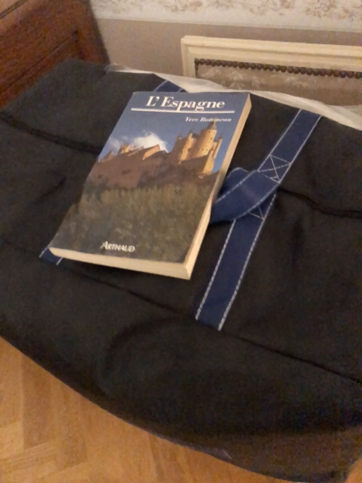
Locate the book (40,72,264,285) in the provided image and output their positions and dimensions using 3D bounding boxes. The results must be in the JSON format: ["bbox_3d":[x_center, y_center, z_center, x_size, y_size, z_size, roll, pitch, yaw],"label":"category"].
[{"bbox_3d":[-0.021,-0.084,0.432,0.170,0.030,0.251,6,60,23],"label":"book"}]
